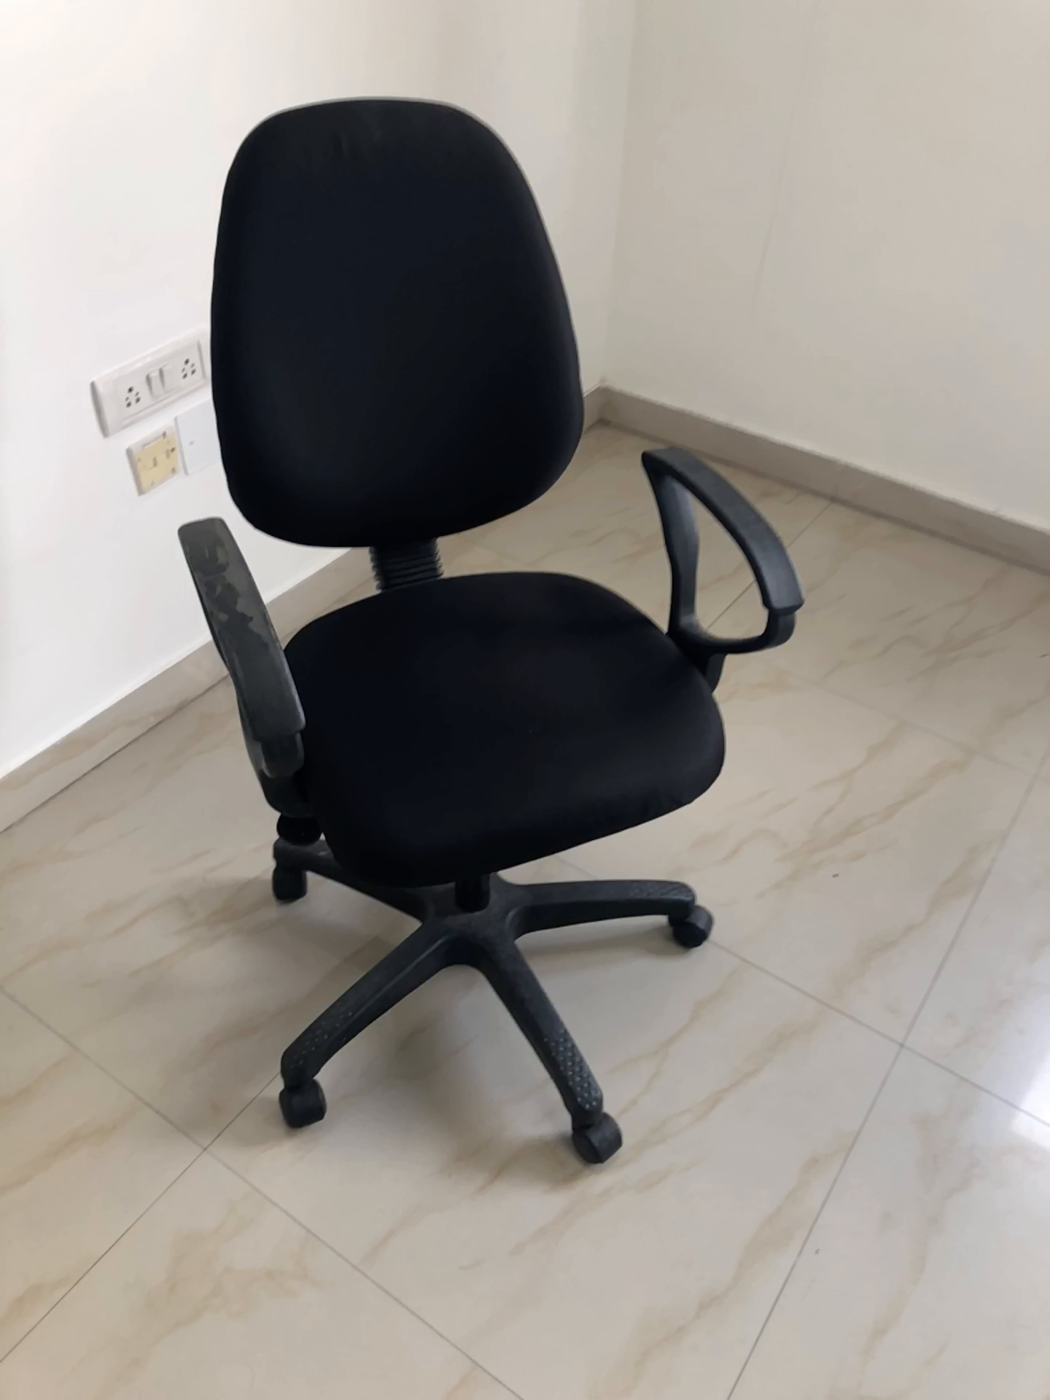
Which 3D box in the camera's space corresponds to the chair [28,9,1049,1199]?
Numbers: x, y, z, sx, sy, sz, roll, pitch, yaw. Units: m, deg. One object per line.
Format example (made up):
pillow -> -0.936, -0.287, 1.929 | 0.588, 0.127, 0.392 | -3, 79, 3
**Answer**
chair -> 0.009, -0.138, 1.215 | 0.681, 0.884, 0.673 | -19, 45, -24
